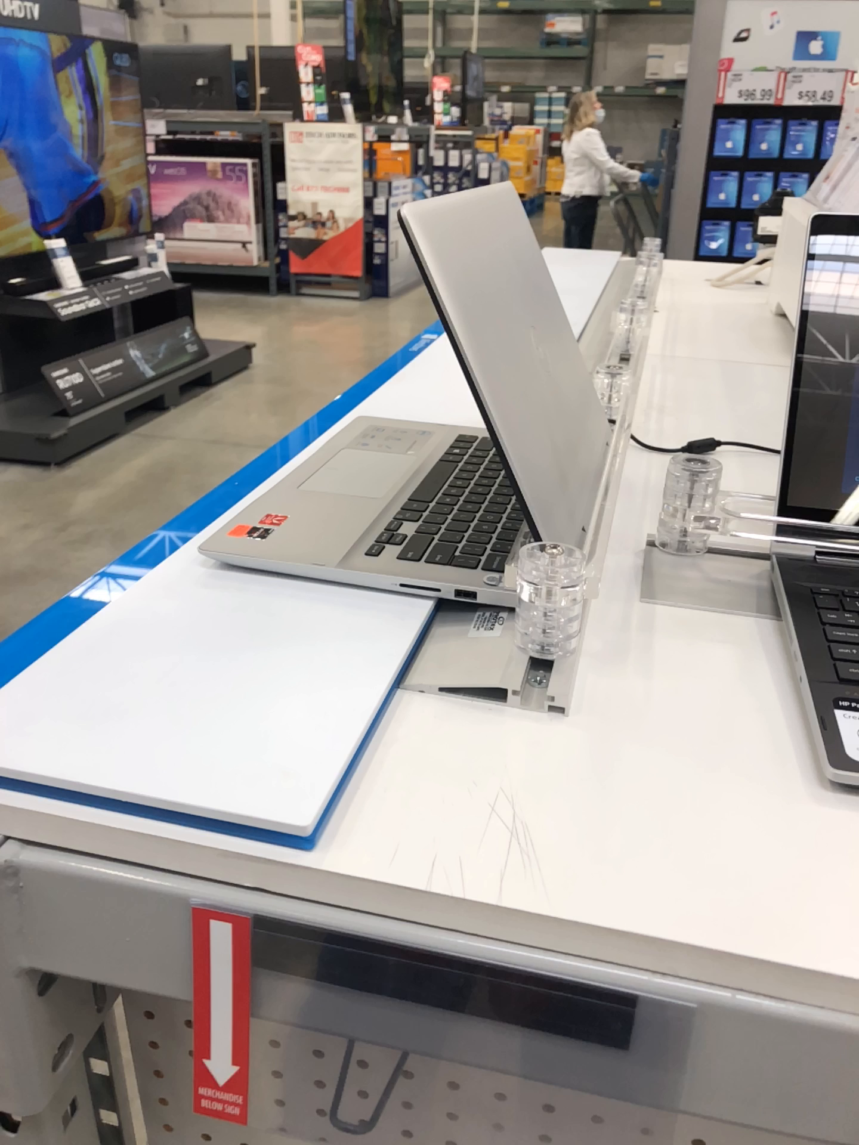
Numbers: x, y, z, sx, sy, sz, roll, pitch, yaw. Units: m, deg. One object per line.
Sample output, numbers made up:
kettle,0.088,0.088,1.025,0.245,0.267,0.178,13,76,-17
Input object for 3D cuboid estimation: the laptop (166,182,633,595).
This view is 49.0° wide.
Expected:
laptop,0.007,-0.155,0.655,0.222,0.199,0.320,7,25,13
